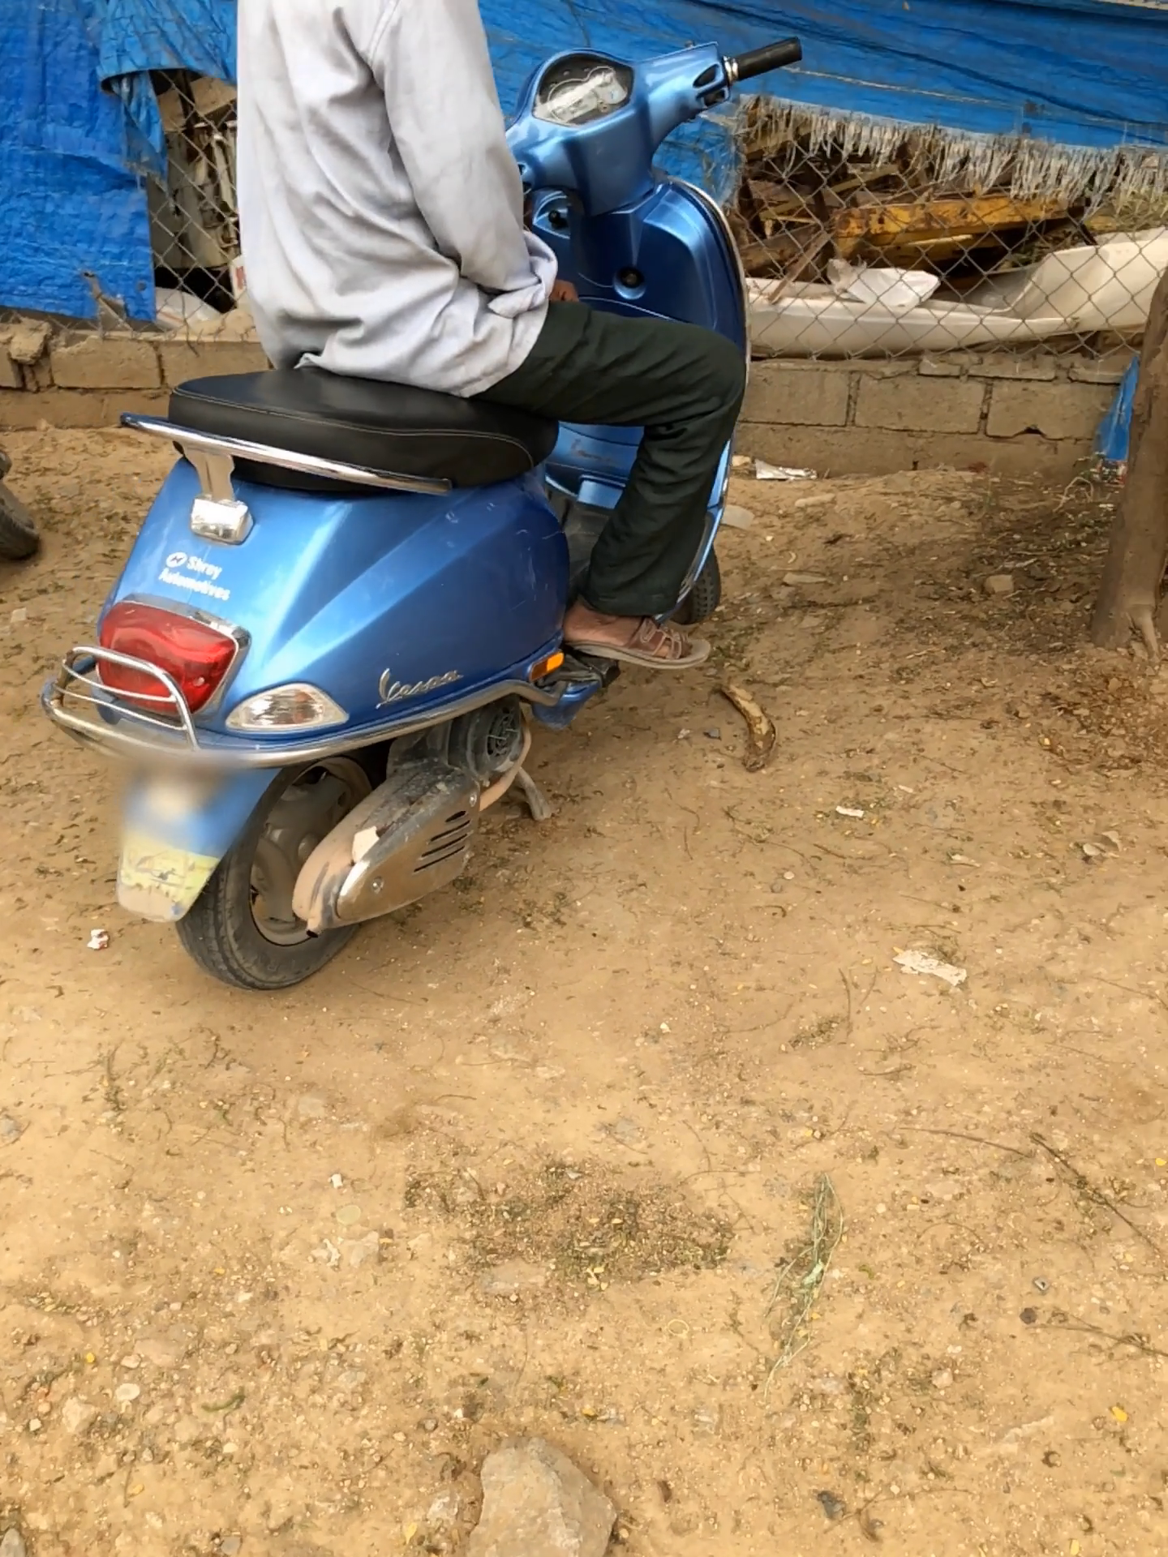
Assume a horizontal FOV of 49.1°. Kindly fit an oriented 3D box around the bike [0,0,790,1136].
[{"bbox_3d":[-0.170,-0.620,2.088,0.631,1.253,1.576,10,34,17],"label":"bike"}]
